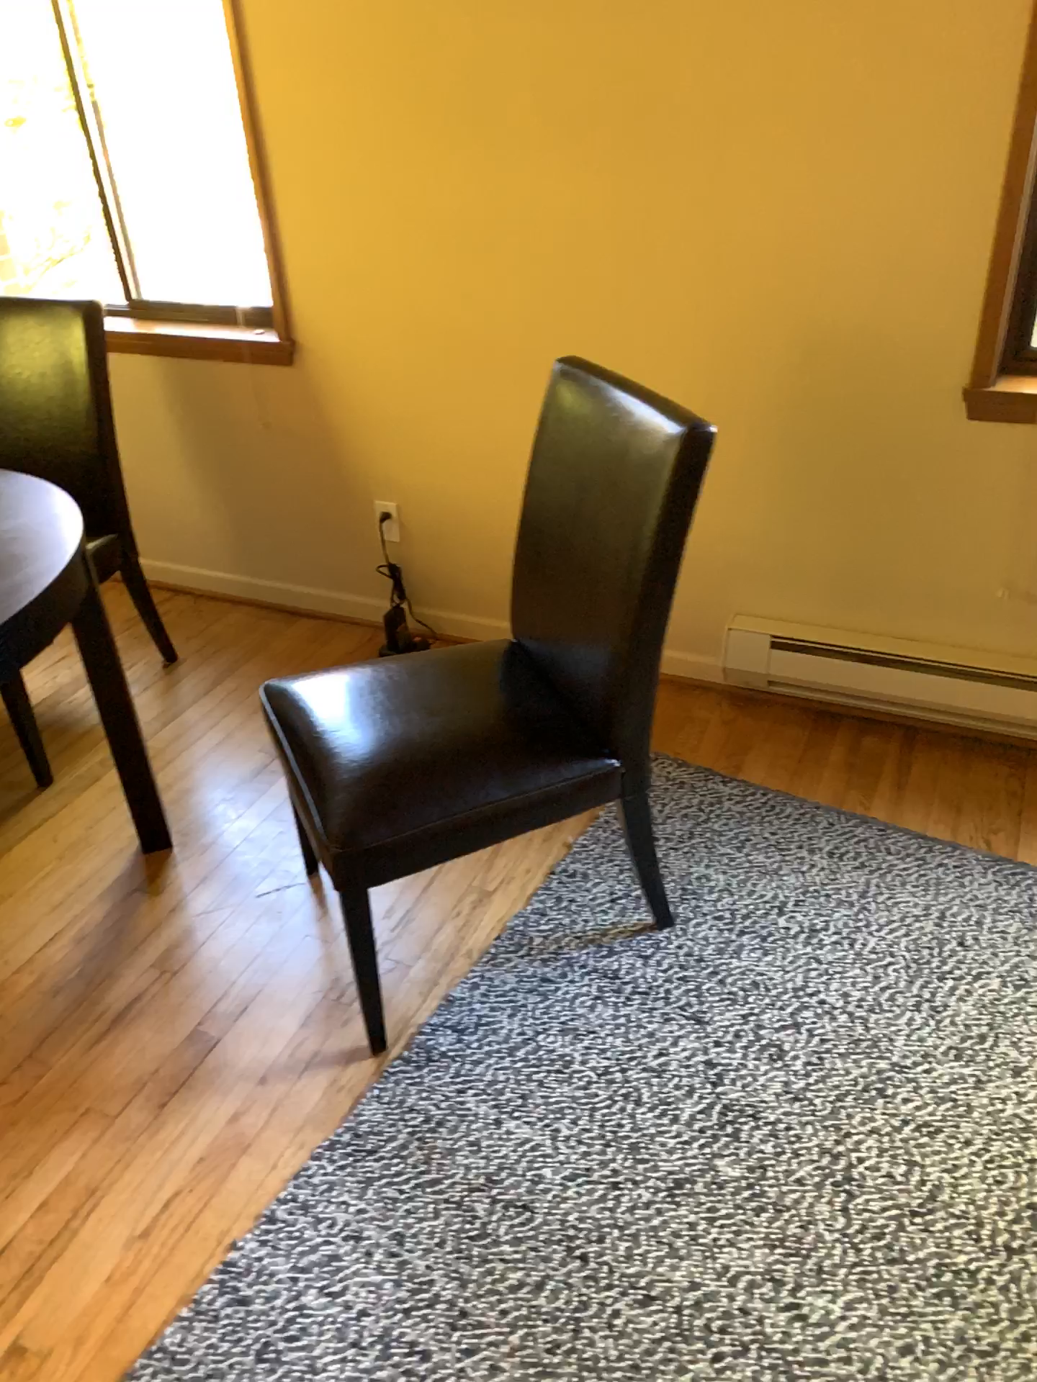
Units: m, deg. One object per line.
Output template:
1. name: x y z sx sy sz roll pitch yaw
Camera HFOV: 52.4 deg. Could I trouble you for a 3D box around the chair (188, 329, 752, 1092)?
1. chair: -0.070 0.015 1.822 0.670 1.034 0.563 -16 34 -19
